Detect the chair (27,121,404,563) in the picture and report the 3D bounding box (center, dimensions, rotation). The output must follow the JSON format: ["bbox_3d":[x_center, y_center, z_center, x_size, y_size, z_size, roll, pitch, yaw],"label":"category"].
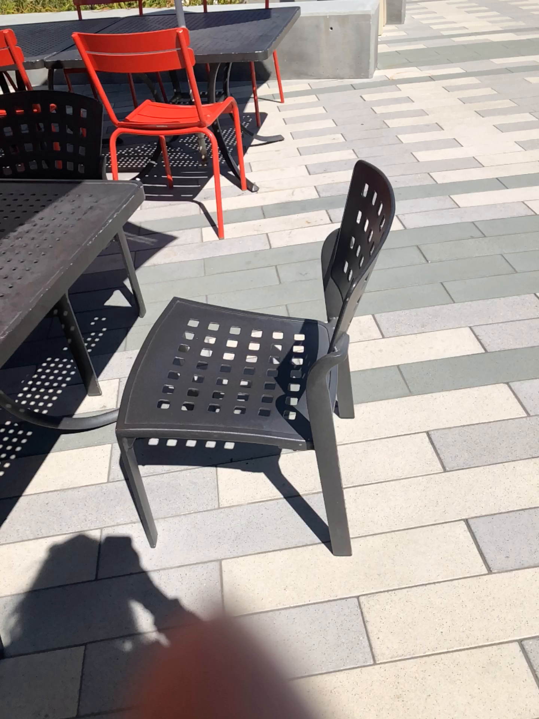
[{"bbox_3d":[-0.062,-0.032,1.265,0.530,0.756,0.523,2,38,3],"label":"chair"}]
